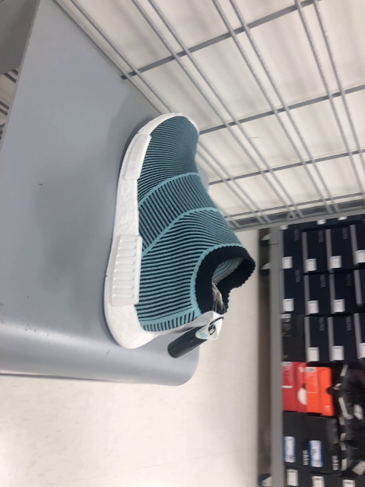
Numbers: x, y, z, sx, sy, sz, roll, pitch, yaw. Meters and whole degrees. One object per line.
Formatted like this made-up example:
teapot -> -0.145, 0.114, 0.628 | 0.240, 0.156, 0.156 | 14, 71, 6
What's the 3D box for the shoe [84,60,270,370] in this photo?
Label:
shoe -> 0.011, -0.027, 0.446 | 0.121, 0.129, 0.300 | 40, 50, -52
